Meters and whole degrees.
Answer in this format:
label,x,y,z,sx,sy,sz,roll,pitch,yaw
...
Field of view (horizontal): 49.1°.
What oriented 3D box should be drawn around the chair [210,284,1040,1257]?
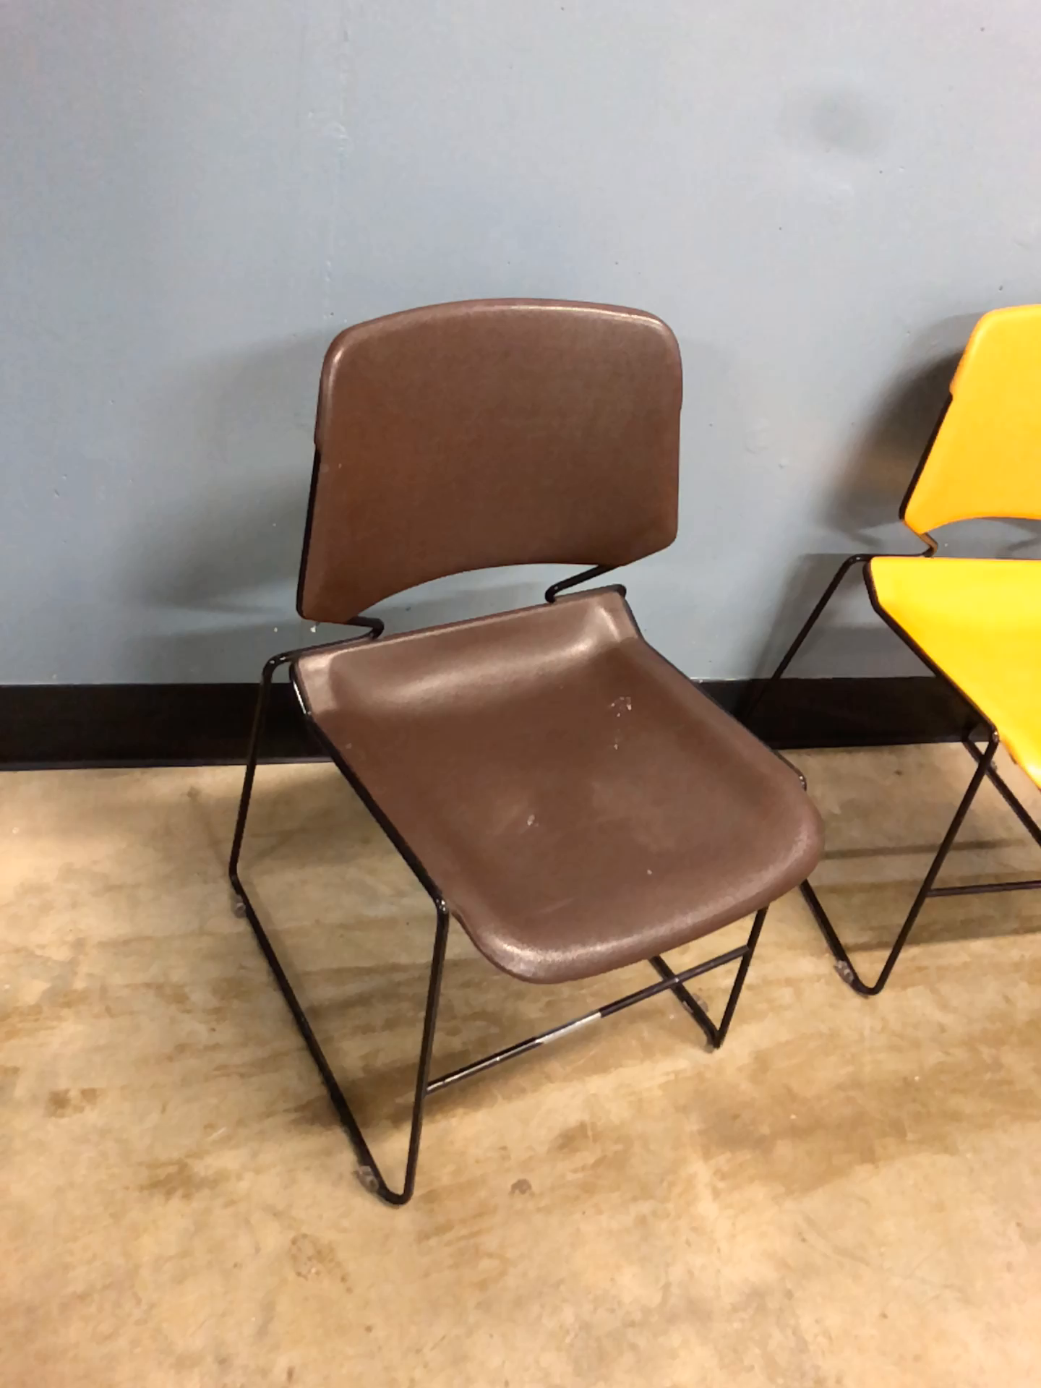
label,x,y,z,sx,sy,sz,roll,pitch,yaw
chair,0.026,0.055,1.205,0.516,0.751,0.547,-15,47,-31
